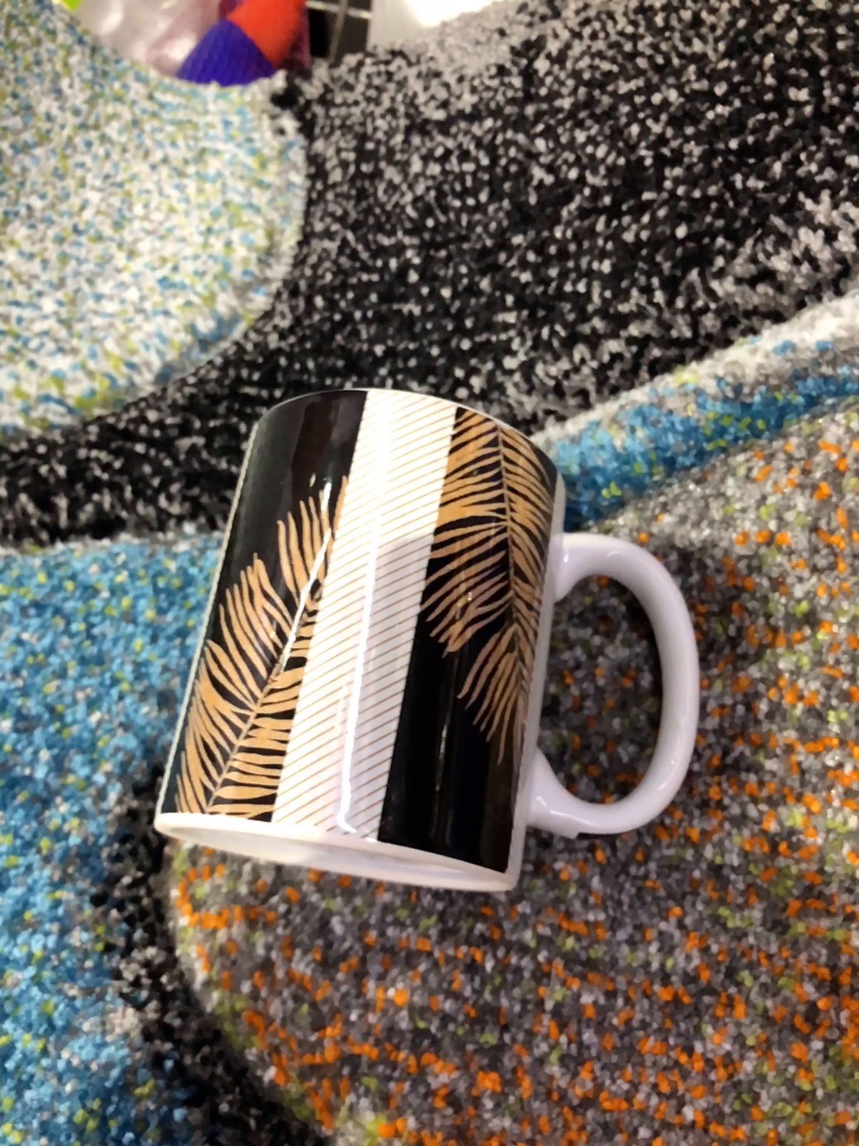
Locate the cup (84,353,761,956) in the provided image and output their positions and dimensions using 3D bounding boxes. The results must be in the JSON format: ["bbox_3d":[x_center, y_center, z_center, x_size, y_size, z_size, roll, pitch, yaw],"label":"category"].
[{"bbox_3d":[0.001,0.024,0.218,0.120,0.070,0.100,10,70,-7],"label":"cup"}]
